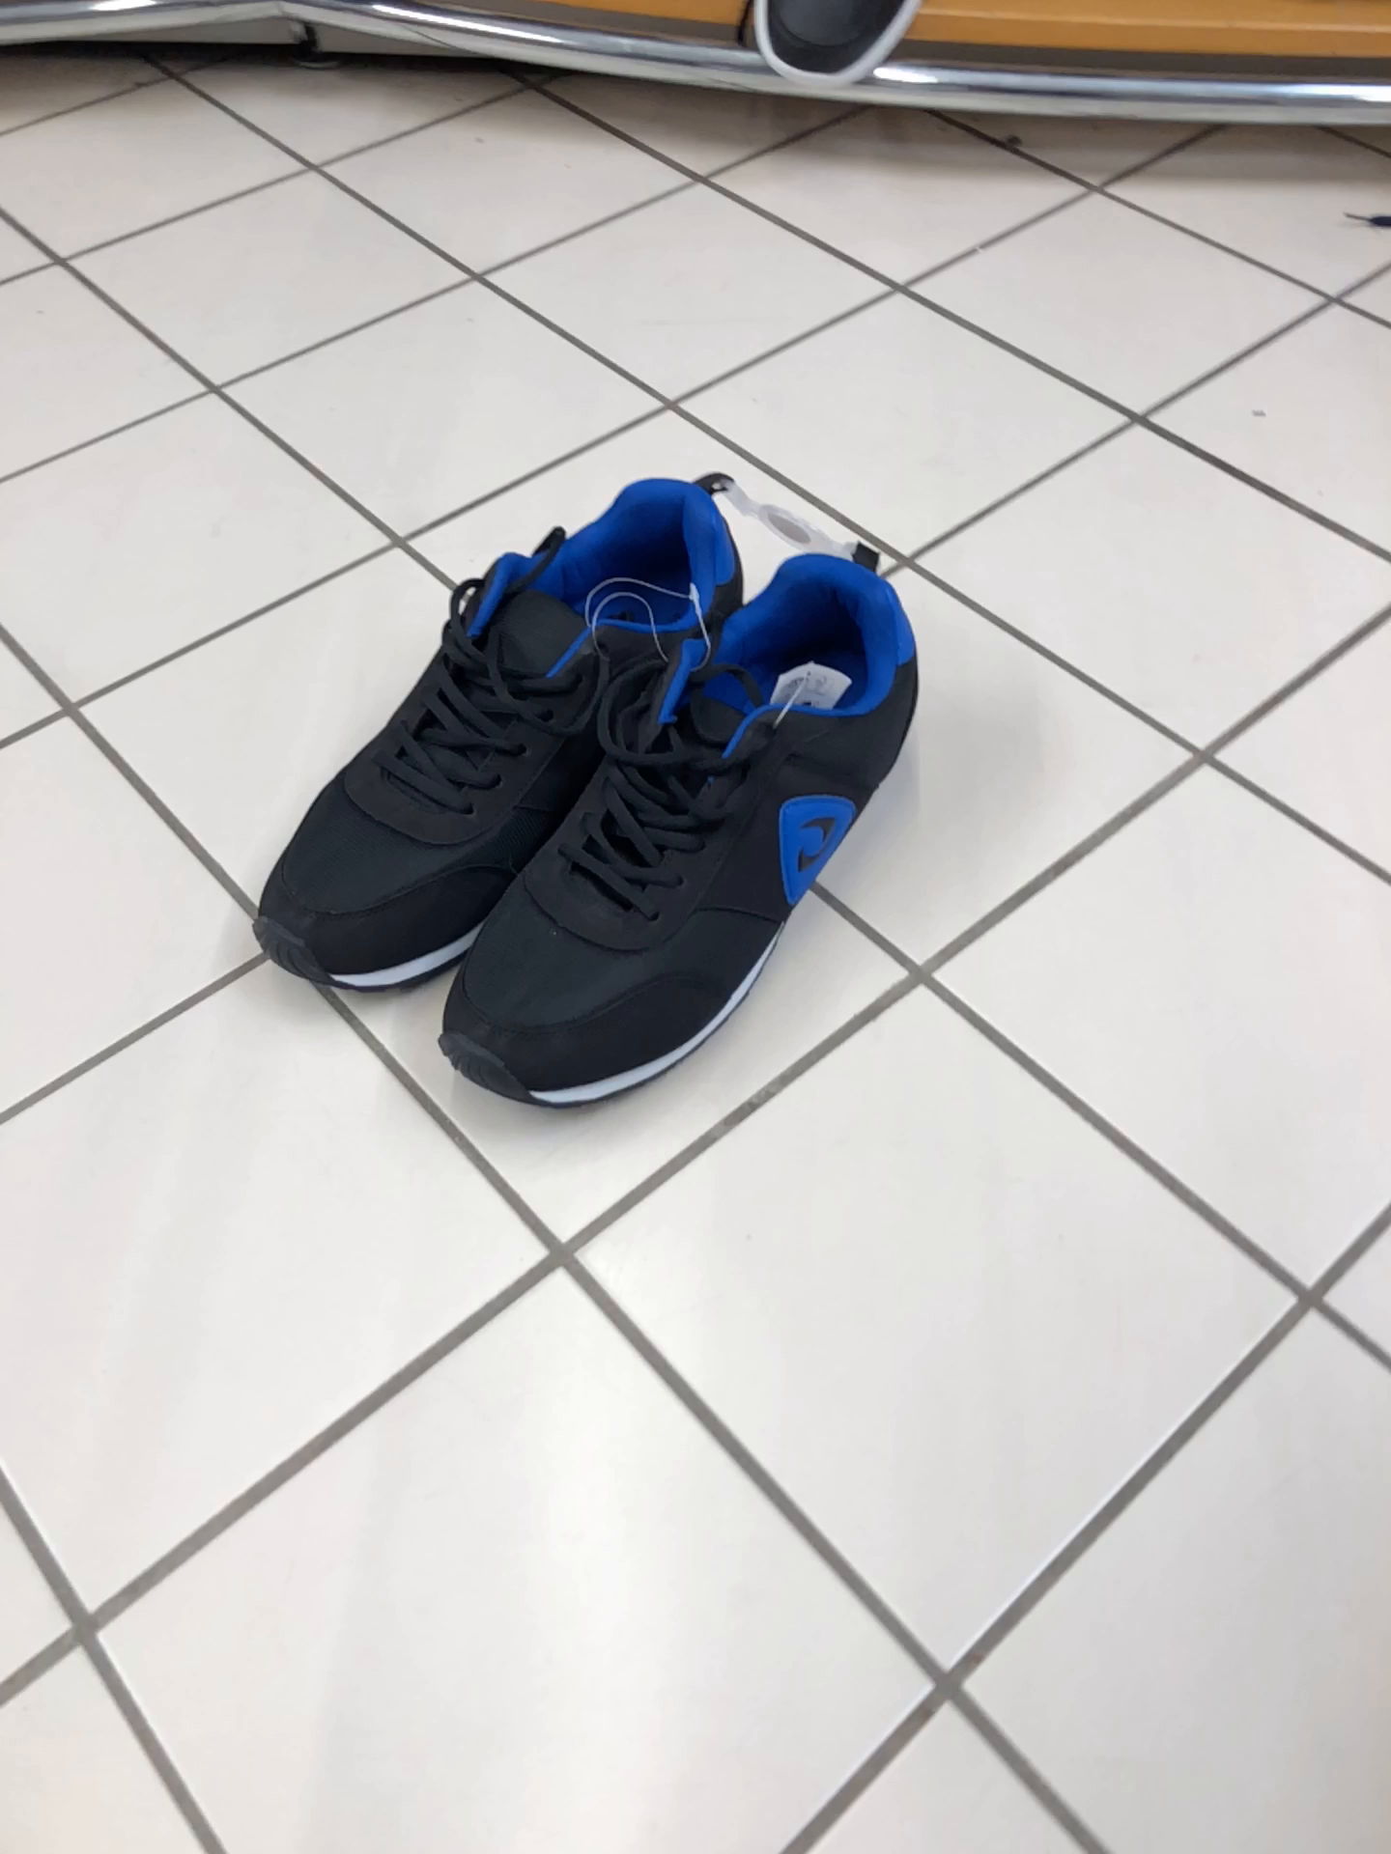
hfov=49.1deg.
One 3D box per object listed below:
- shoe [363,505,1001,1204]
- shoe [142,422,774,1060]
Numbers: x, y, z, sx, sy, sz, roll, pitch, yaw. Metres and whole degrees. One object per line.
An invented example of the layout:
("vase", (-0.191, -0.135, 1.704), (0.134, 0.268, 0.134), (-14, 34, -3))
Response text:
("shoe", (0.007, -0.042, 0.642), (0.100, 0.109, 0.291), (29, 57, 21))
("shoe", (-0.088, -0.094, 0.686), (0.100, 0.109, 0.291), (29, 57, 21))
